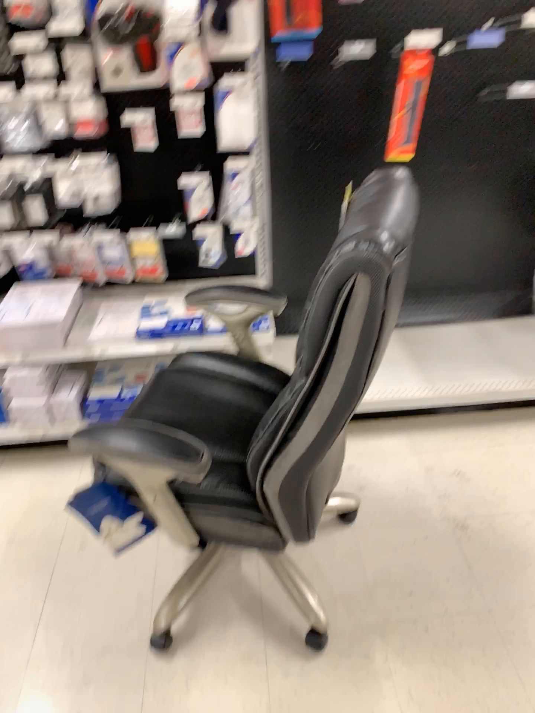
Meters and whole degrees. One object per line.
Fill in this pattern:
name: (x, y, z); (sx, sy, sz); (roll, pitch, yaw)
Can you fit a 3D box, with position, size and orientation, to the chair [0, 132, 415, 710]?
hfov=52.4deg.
chair: (-0.100, 0.113, 1.338); (0.741, 1.094, 0.743); (7, 35, 14)
